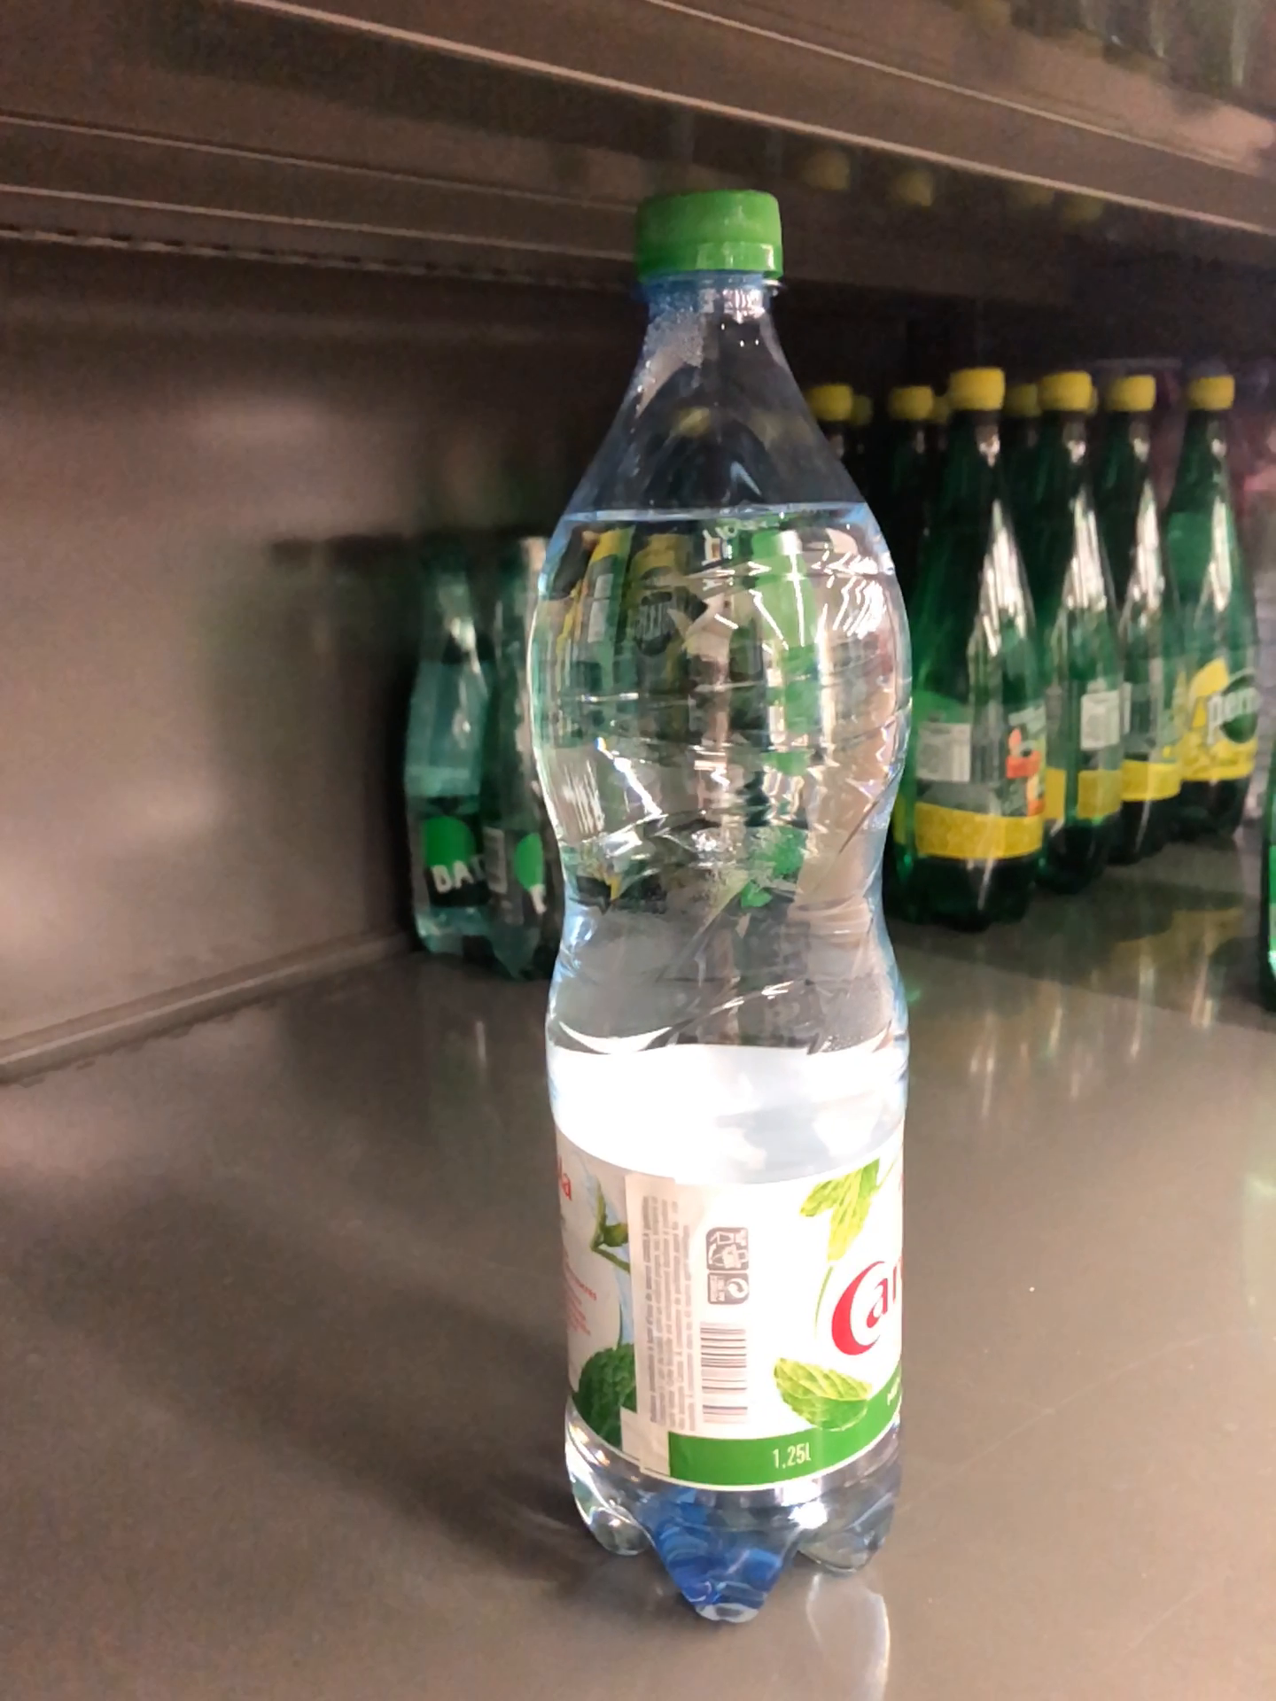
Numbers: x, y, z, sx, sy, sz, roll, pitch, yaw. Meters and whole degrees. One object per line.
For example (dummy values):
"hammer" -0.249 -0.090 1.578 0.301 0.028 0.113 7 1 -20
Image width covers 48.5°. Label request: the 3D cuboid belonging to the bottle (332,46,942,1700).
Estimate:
"bottle" 0.013 0.014 0.341 0.100 0.339 0.100 -2 14 1
